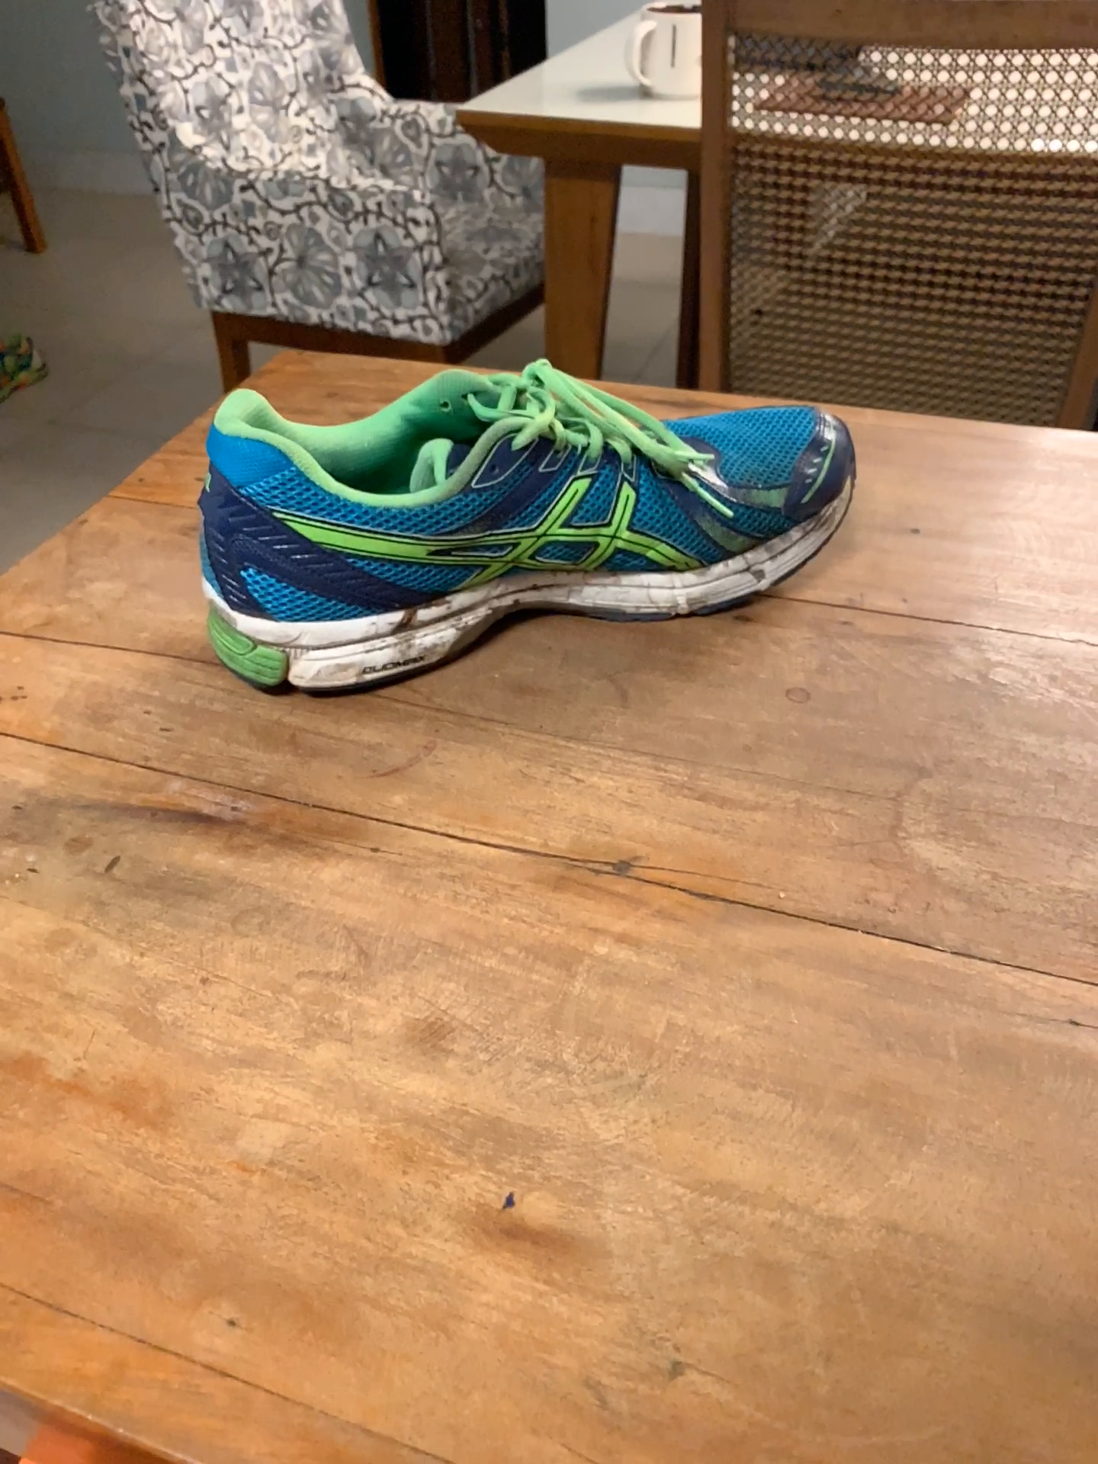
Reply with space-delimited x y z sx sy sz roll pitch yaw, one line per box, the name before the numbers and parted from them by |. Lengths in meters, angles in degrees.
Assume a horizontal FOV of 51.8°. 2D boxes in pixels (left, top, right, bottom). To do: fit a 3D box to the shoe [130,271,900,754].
shoe | -0.013 -0.107 0.507 0.300 0.119 0.111 -15 42 -15
